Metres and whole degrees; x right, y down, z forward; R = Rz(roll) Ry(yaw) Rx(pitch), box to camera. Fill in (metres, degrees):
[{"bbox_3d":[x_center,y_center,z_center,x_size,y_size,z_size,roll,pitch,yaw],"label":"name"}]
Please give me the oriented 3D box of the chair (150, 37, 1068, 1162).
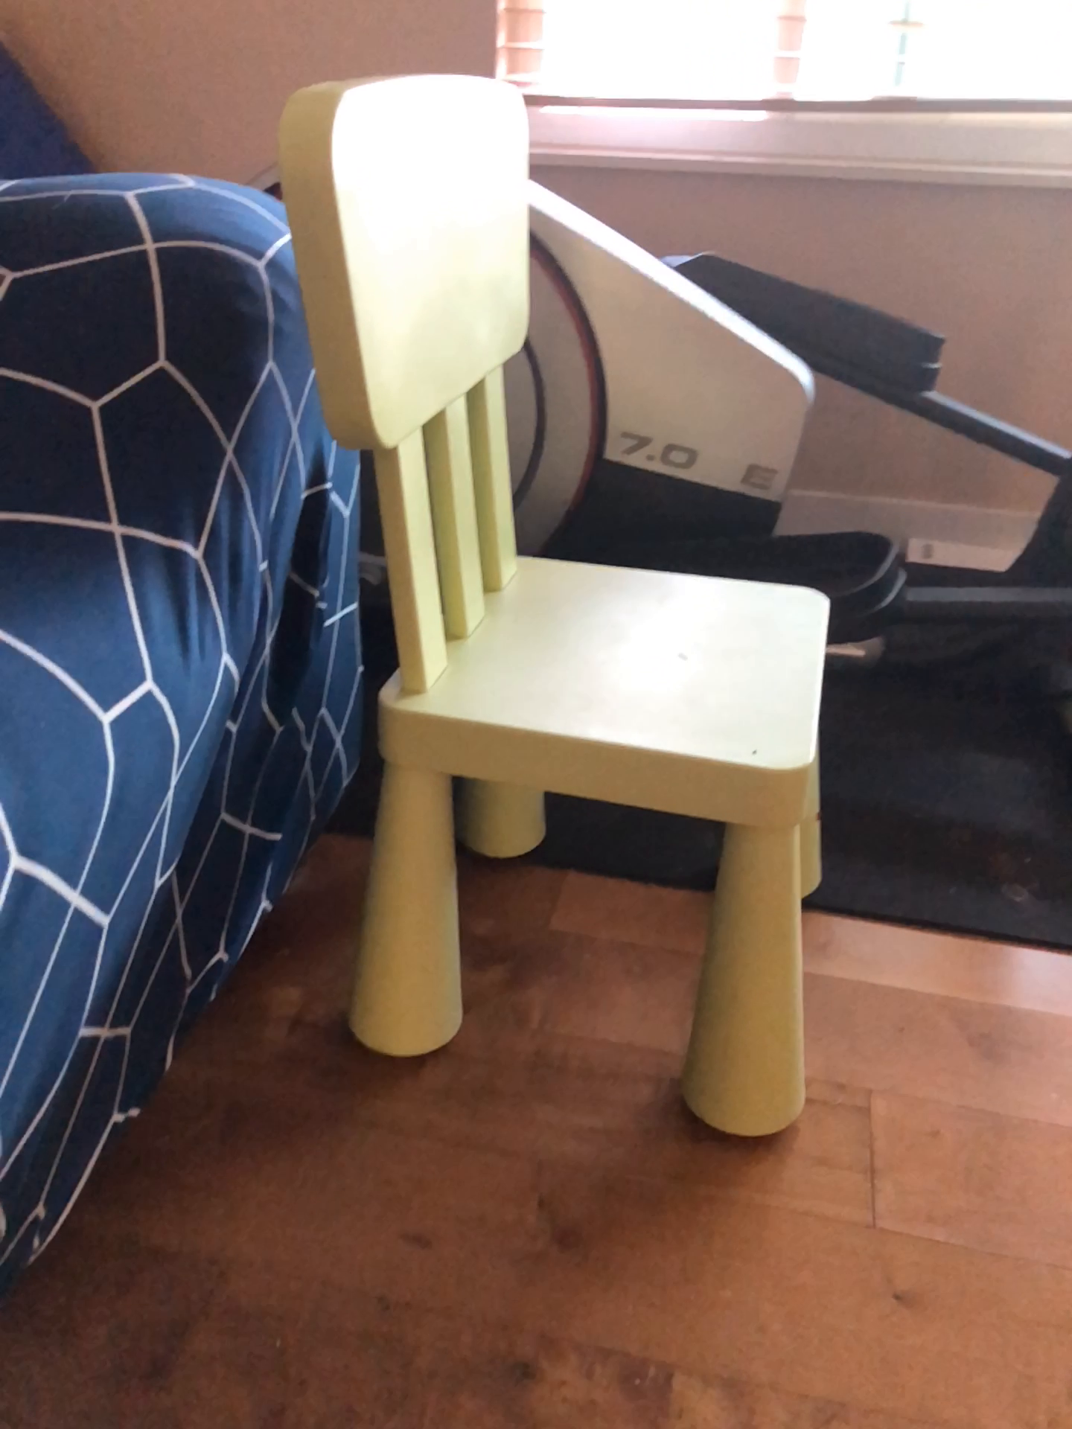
[{"bbox_3d":[0.049,-0.100,0.832,0.410,0.636,0.393,7,28,10],"label":"chair"}]
